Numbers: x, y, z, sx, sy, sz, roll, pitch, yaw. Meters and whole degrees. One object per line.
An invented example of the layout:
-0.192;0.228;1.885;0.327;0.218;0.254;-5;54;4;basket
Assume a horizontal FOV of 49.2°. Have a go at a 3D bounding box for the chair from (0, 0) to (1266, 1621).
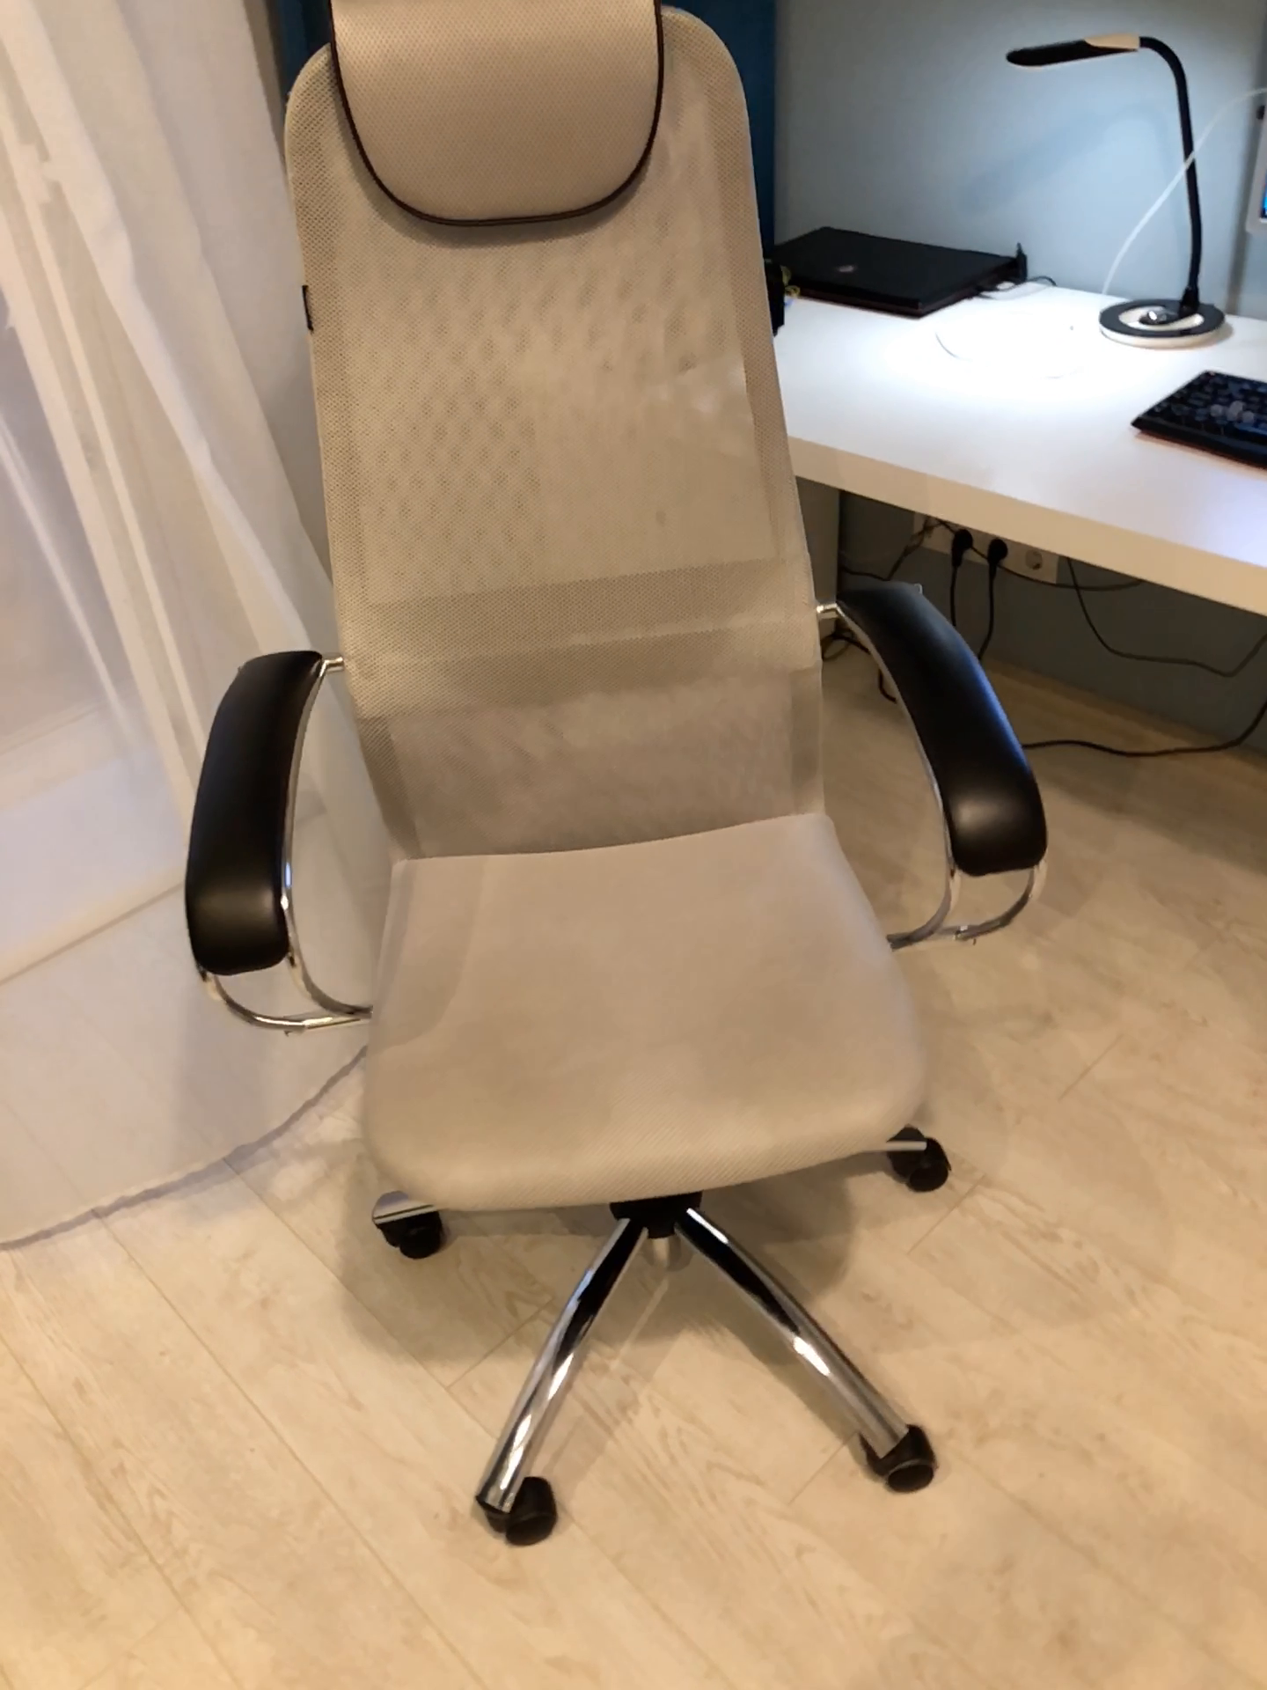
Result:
0.000;-0.004;1.261;0.690;1.290;0.685;-8;37;-2;chair
